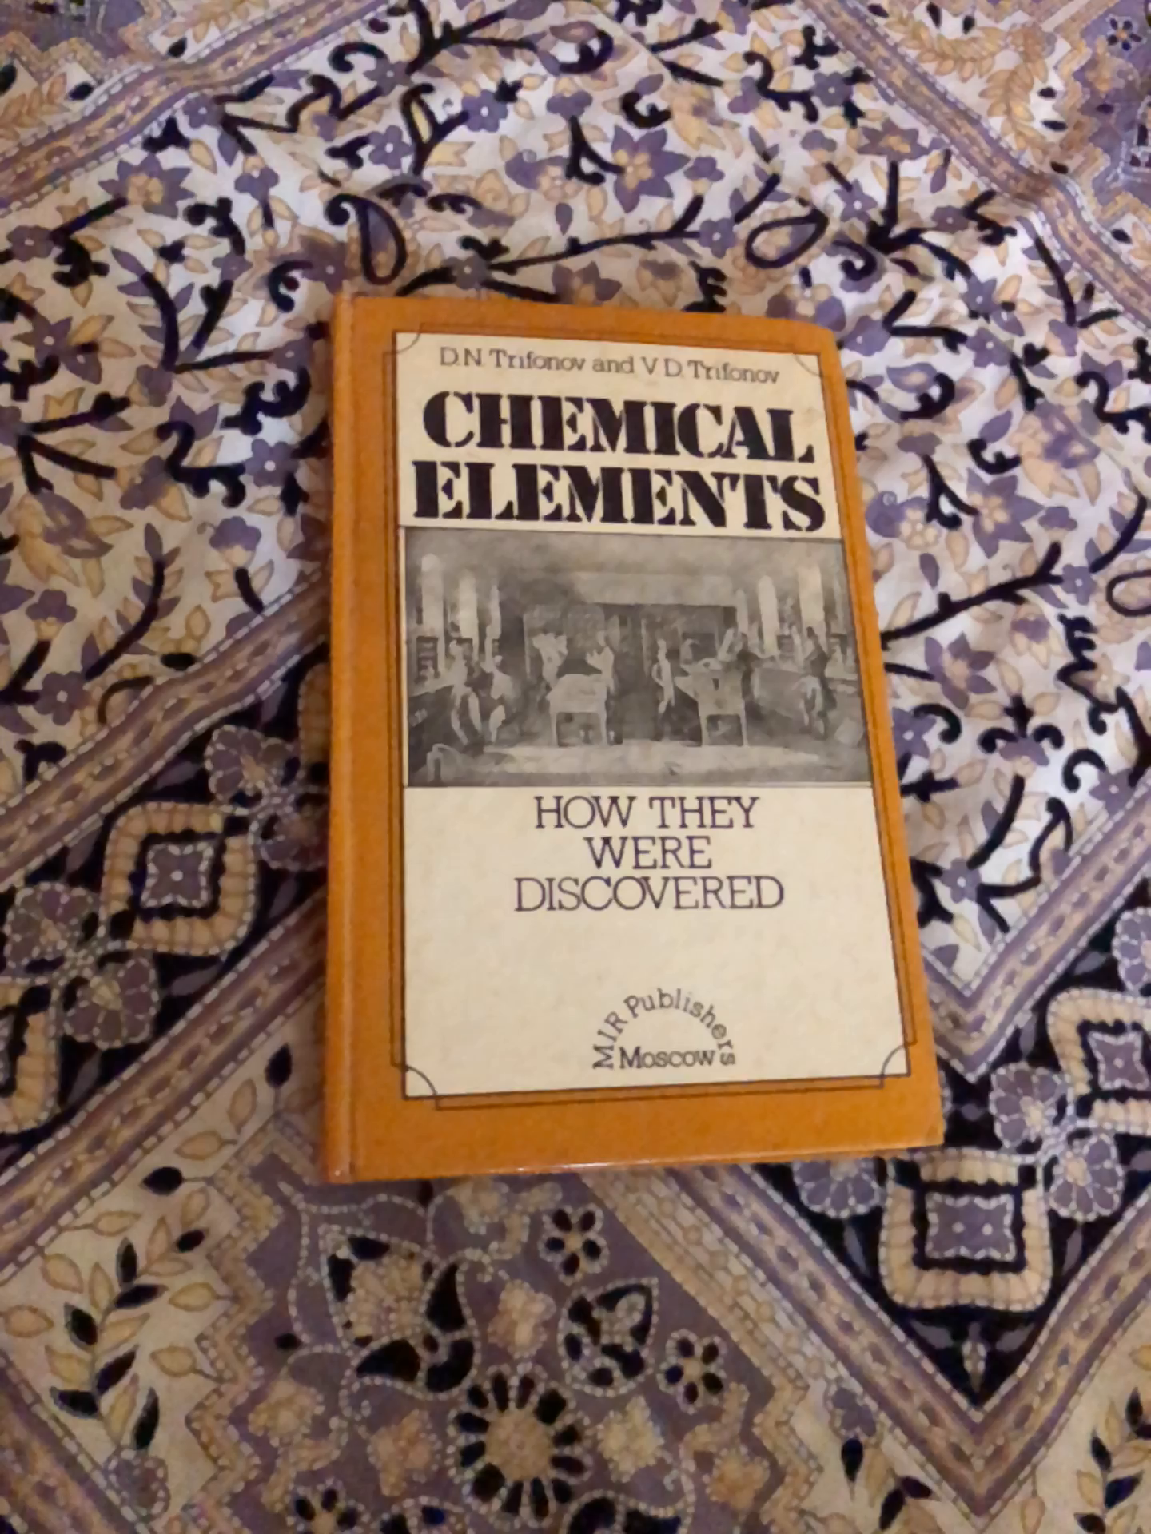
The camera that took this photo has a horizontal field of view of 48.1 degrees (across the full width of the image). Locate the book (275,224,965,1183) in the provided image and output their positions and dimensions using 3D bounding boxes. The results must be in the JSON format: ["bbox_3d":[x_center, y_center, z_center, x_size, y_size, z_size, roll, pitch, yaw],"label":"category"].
[{"bbox_3d":[0.004,-0.022,0.303,0.140,0.030,0.220,0,72,-10],"label":"book"}]
